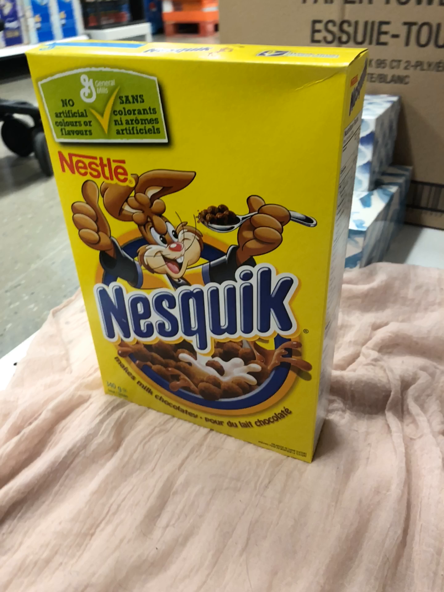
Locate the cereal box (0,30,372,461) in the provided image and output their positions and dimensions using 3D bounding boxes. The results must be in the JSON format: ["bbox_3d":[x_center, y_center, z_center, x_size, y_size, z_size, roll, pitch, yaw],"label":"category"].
[{"bbox_3d":[-0.022,-0.029,0.334,0.200,0.259,0.060,13,38,23],"label":"cereal box"}]
